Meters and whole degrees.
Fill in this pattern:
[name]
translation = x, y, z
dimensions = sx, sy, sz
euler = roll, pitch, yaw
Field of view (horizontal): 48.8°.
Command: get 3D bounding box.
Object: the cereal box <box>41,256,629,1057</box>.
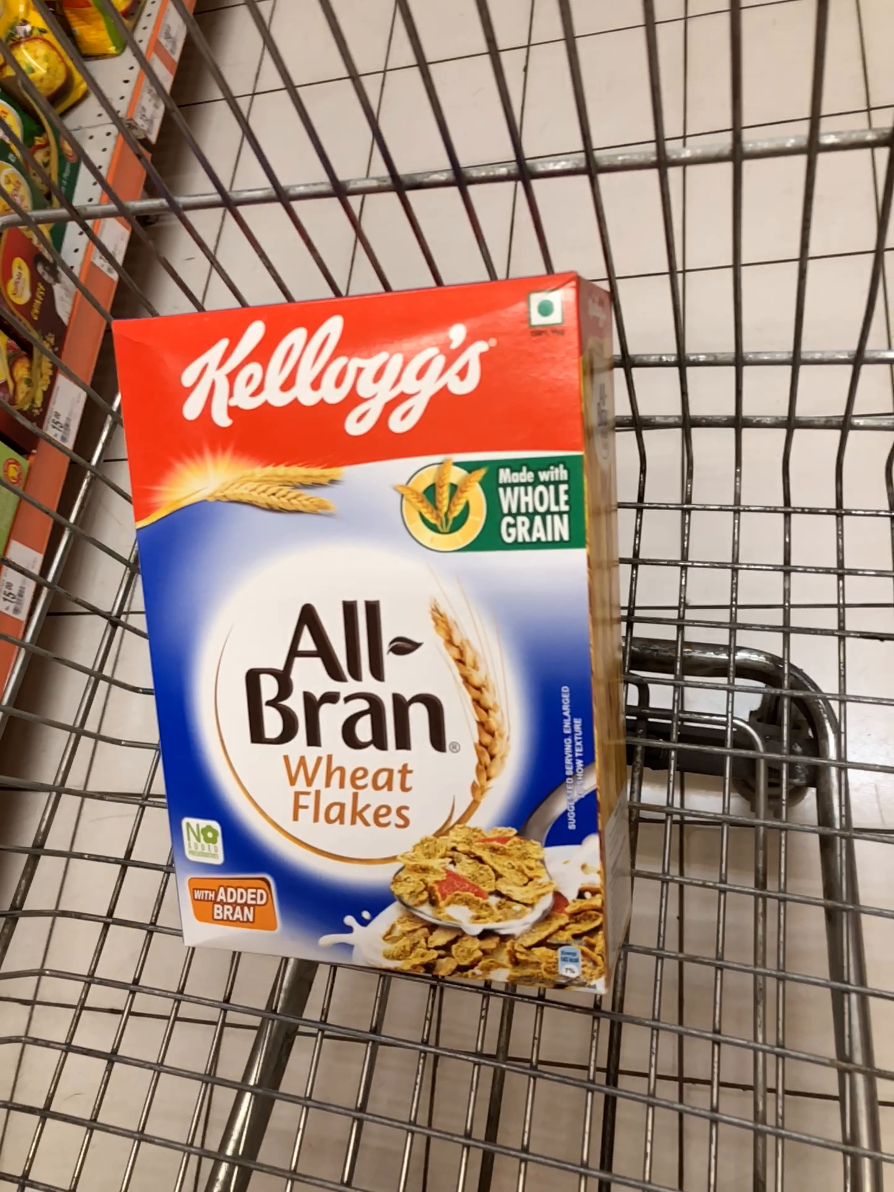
[cereal box]
translation = -0.033, 0.022, 0.385
dimensions = 0.190, 0.080, 0.270
euler = 0, 103, 17
